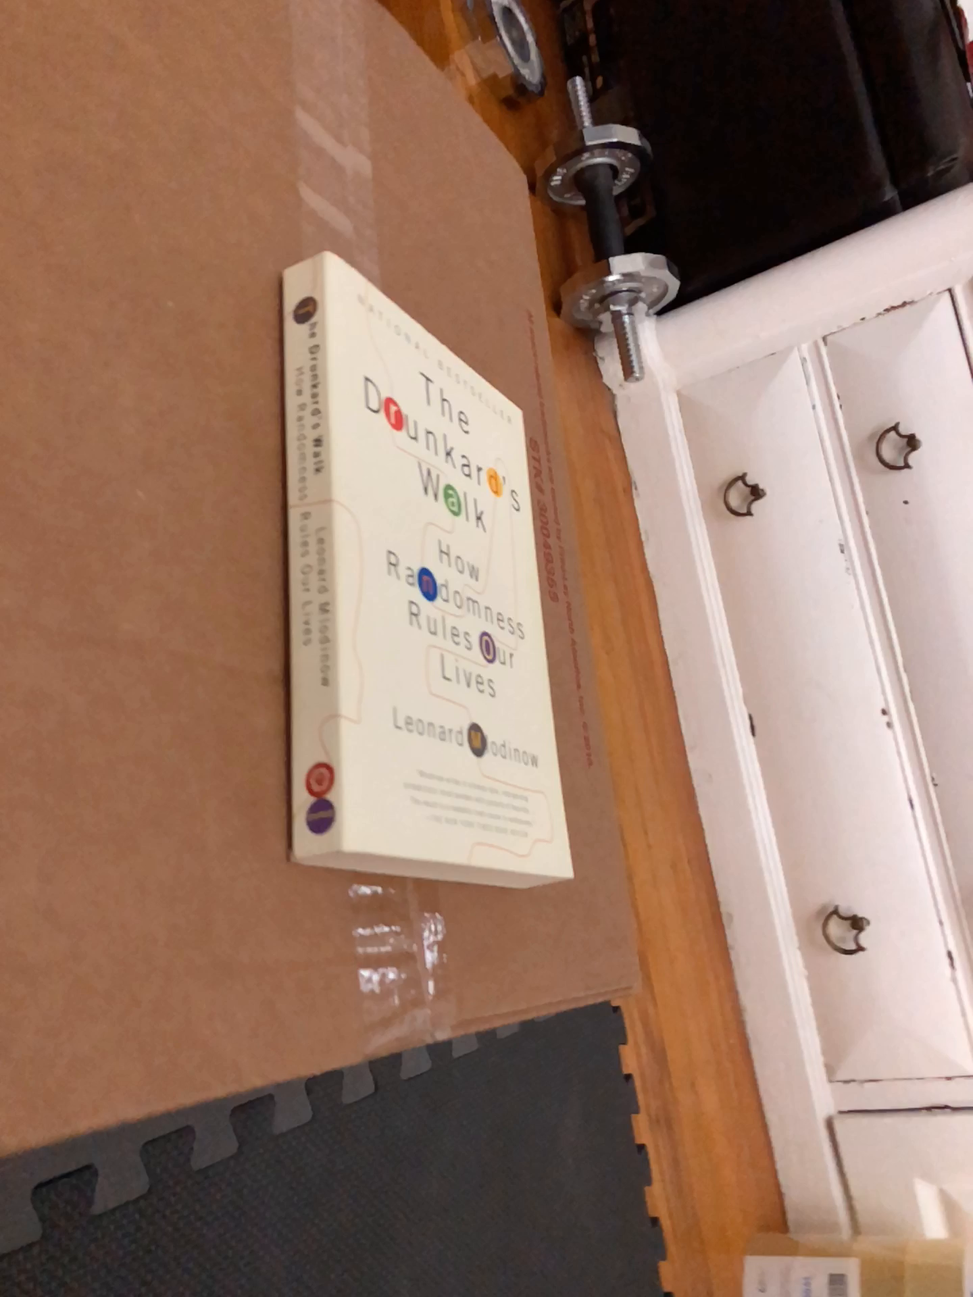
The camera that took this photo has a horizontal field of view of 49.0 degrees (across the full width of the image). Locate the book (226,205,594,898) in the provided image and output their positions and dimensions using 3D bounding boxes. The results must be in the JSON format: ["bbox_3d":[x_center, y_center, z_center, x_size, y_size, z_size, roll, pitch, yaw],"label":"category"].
[{"bbox_3d":[-0.025,-0.024,0.377,0.140,0.040,0.210,23,57,-54],"label":"book"}]
